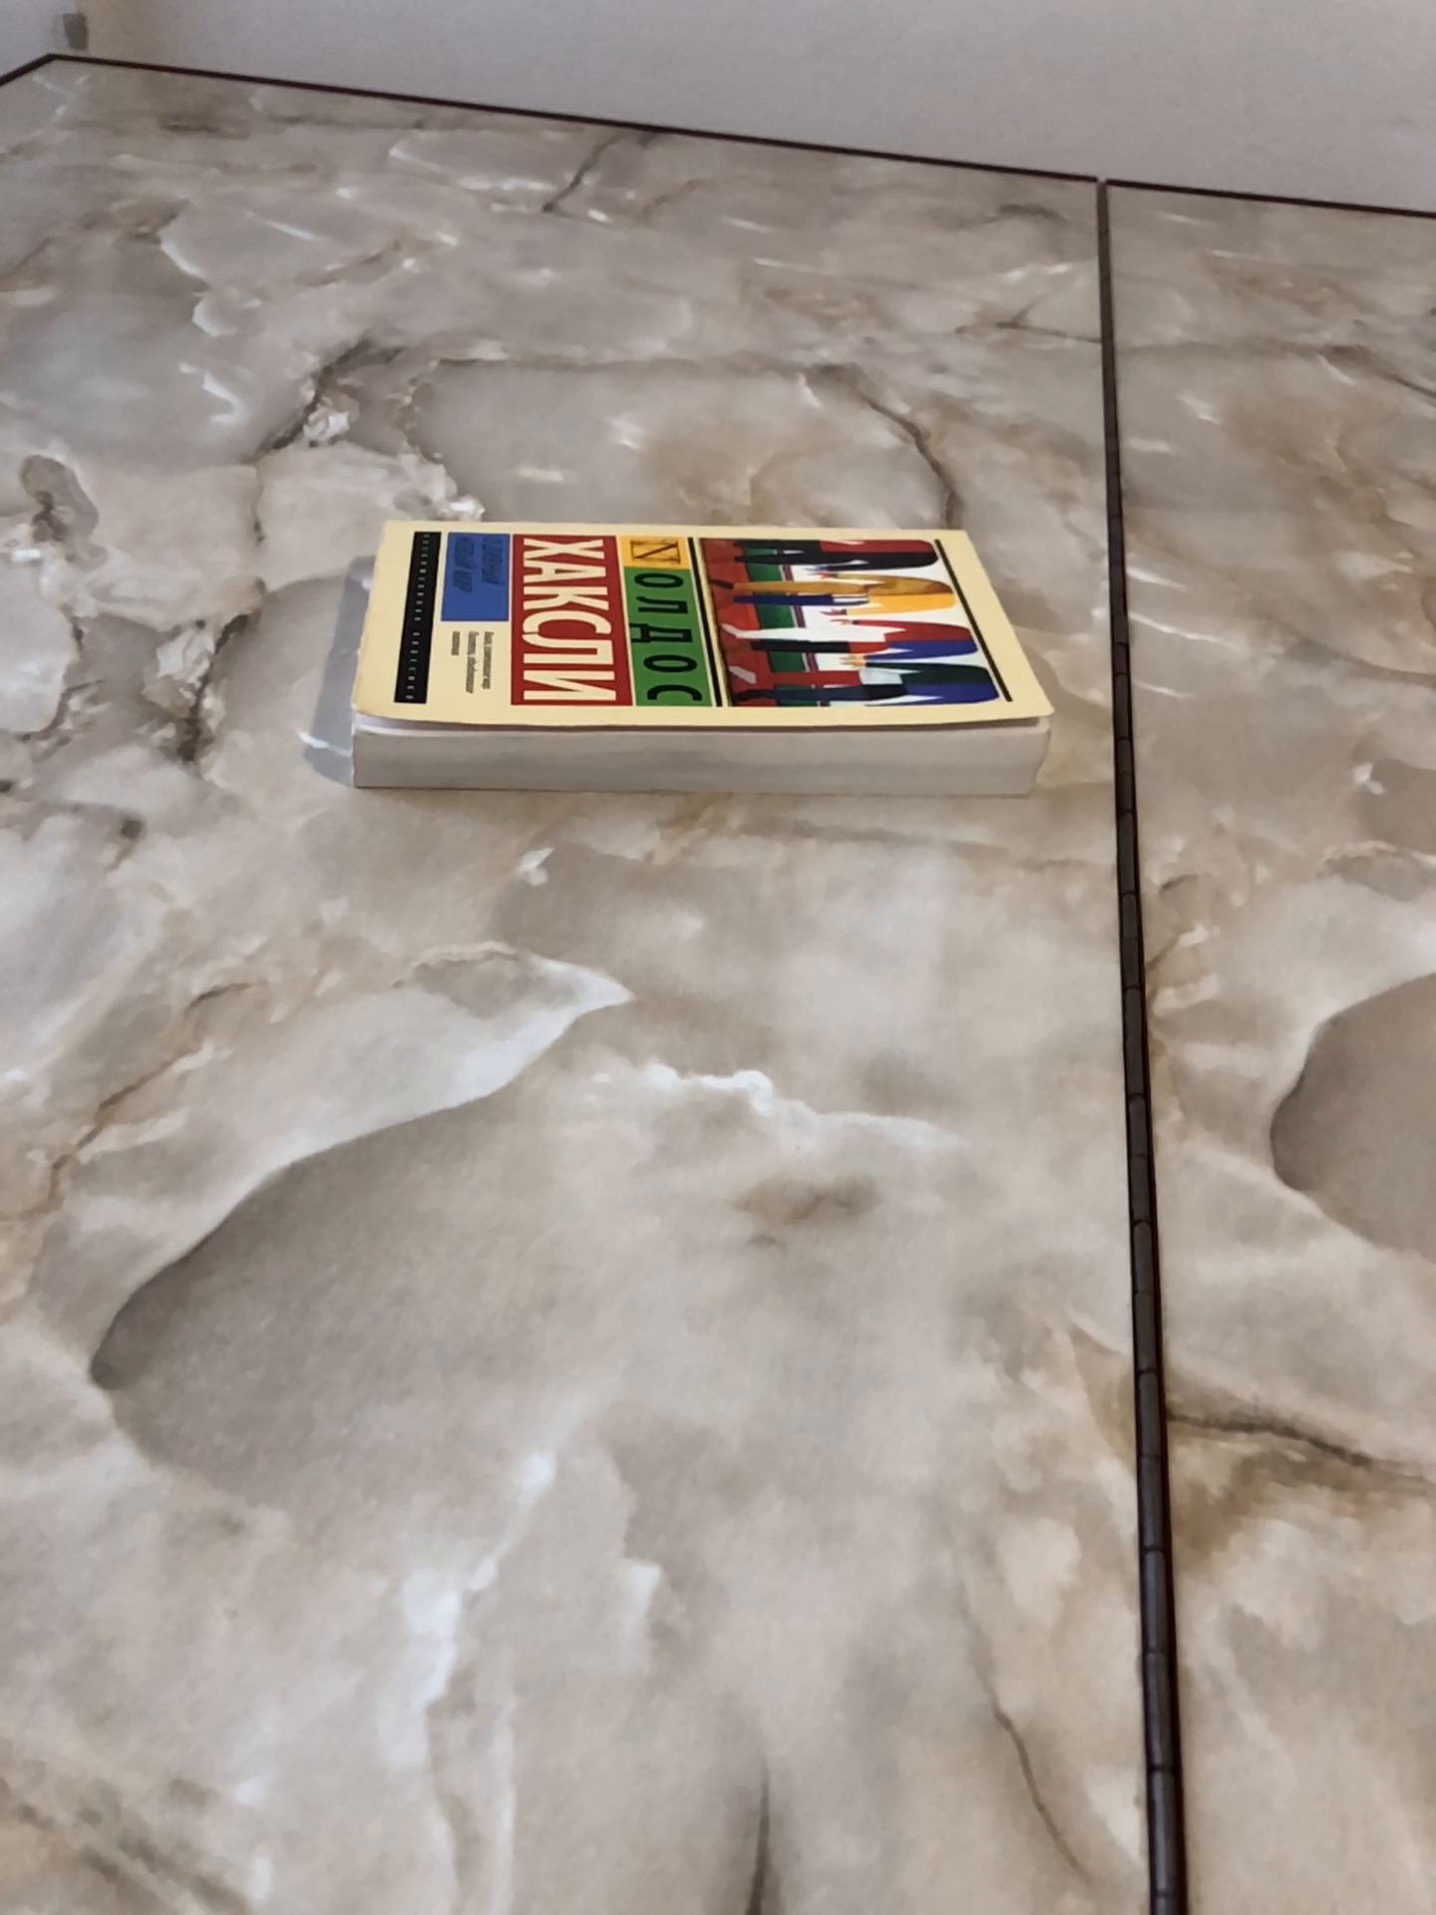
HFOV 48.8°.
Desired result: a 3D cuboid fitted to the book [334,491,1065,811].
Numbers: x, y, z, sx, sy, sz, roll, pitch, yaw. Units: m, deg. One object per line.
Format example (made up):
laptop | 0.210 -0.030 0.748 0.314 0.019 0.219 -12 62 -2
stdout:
book | -0.007 -0.090 0.450 0.183 0.028 0.121 0 42 -5
